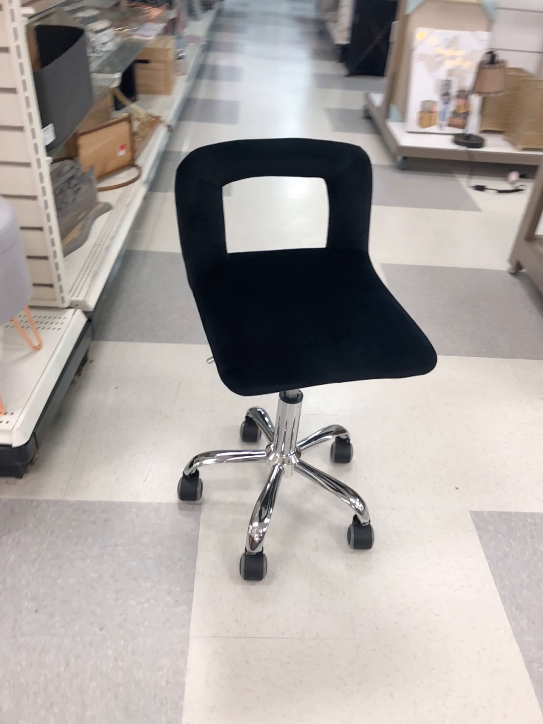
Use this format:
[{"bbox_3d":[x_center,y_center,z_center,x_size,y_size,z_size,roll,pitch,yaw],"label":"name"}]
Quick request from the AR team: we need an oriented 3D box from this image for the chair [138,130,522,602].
[{"bbox_3d":[0.027,-0.009,1.130,0.462,0.693,0.487,-6,38,-15],"label":"chair"}]
